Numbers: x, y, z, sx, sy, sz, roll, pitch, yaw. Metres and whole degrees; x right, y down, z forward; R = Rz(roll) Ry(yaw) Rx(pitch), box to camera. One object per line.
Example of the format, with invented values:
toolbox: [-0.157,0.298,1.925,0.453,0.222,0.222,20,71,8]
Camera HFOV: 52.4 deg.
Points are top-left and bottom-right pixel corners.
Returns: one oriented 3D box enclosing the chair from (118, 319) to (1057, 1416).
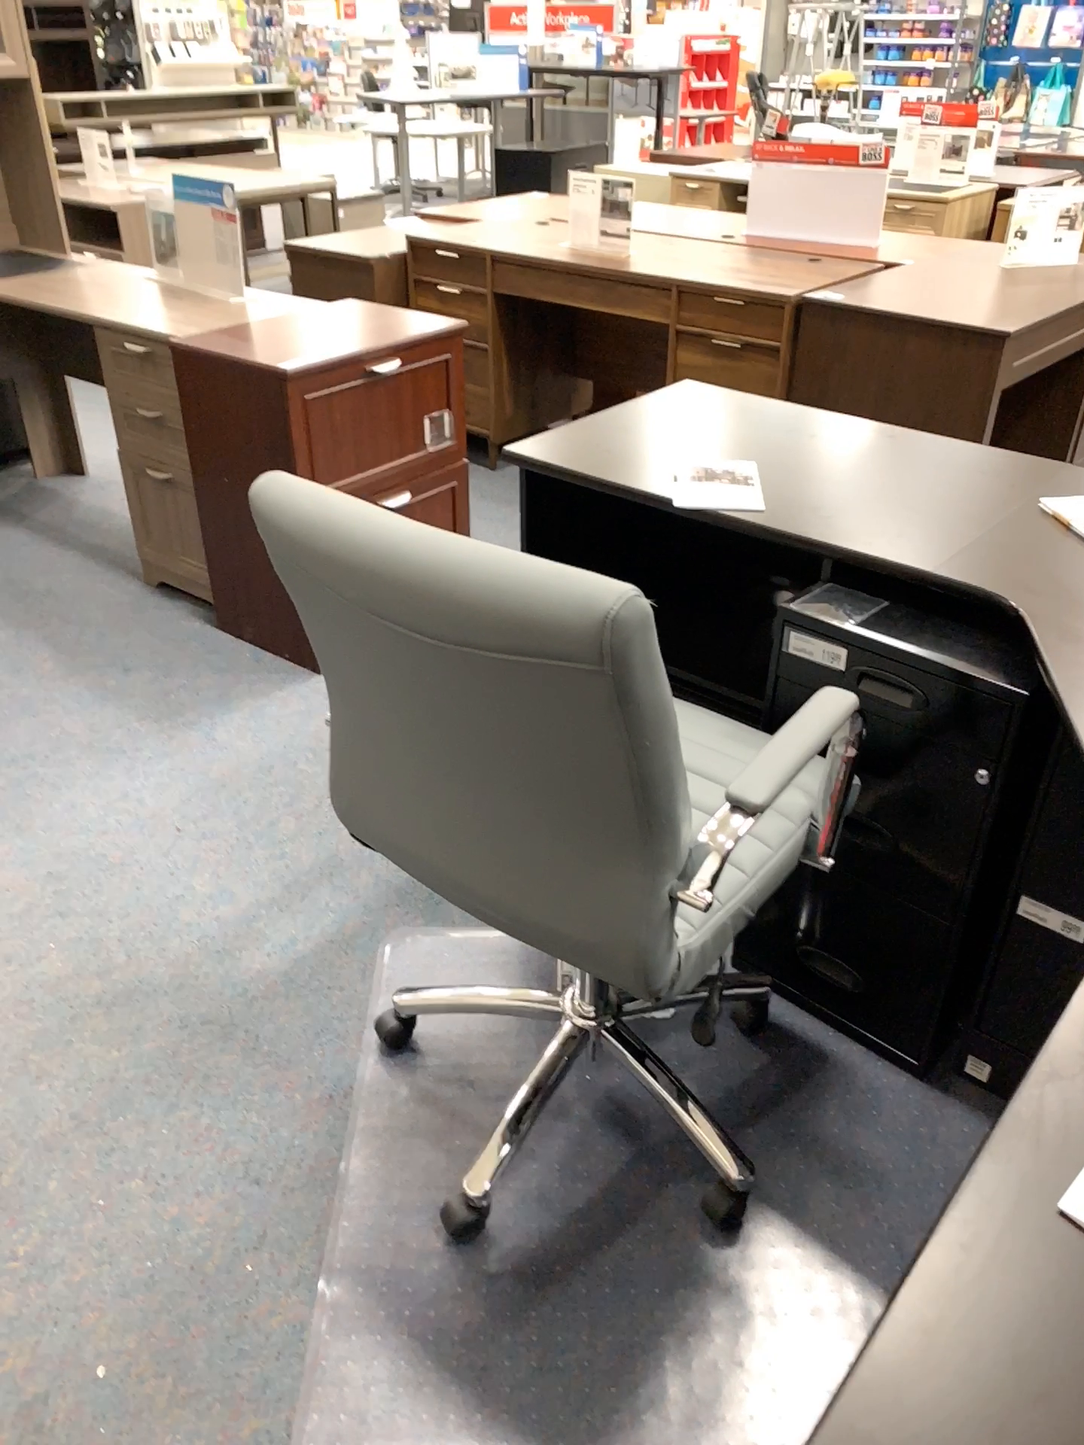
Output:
chair: [0.057,0.103,1.381,0.659,0.962,0.709,27,40,35]
